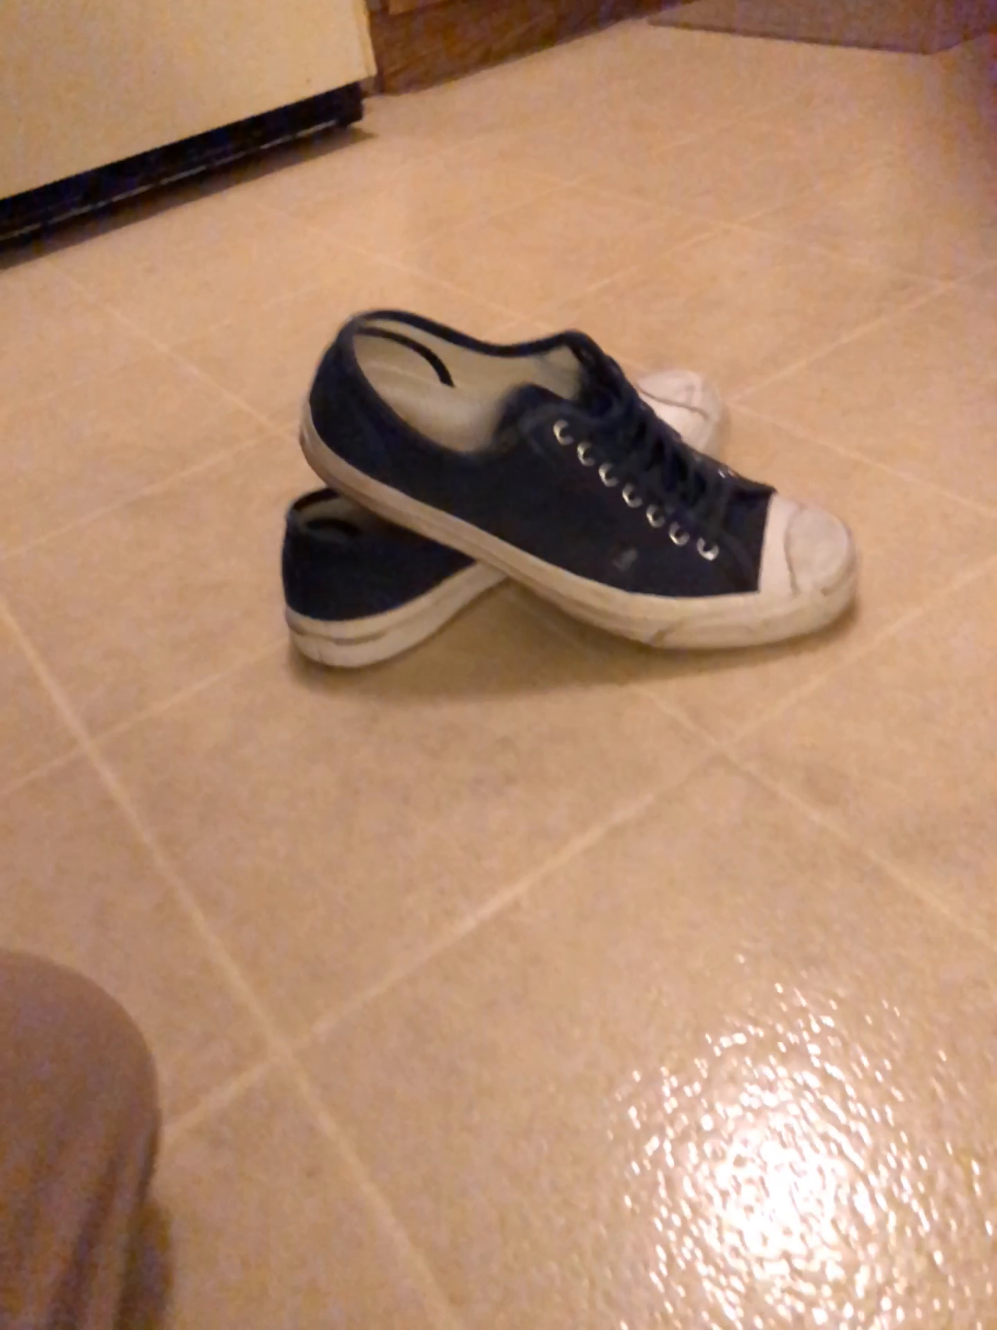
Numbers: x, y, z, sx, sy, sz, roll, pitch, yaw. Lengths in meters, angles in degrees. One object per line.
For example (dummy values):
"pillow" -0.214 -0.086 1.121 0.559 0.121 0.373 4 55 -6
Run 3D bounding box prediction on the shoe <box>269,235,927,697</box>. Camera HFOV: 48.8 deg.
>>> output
"shoe" 0.045 -0.093 0.539 0.290 0.099 0.101 18 62 -2

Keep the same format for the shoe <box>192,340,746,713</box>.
"shoe" -0.008 -0.091 0.621 0.291 0.079 0.111 -26 46 -27
